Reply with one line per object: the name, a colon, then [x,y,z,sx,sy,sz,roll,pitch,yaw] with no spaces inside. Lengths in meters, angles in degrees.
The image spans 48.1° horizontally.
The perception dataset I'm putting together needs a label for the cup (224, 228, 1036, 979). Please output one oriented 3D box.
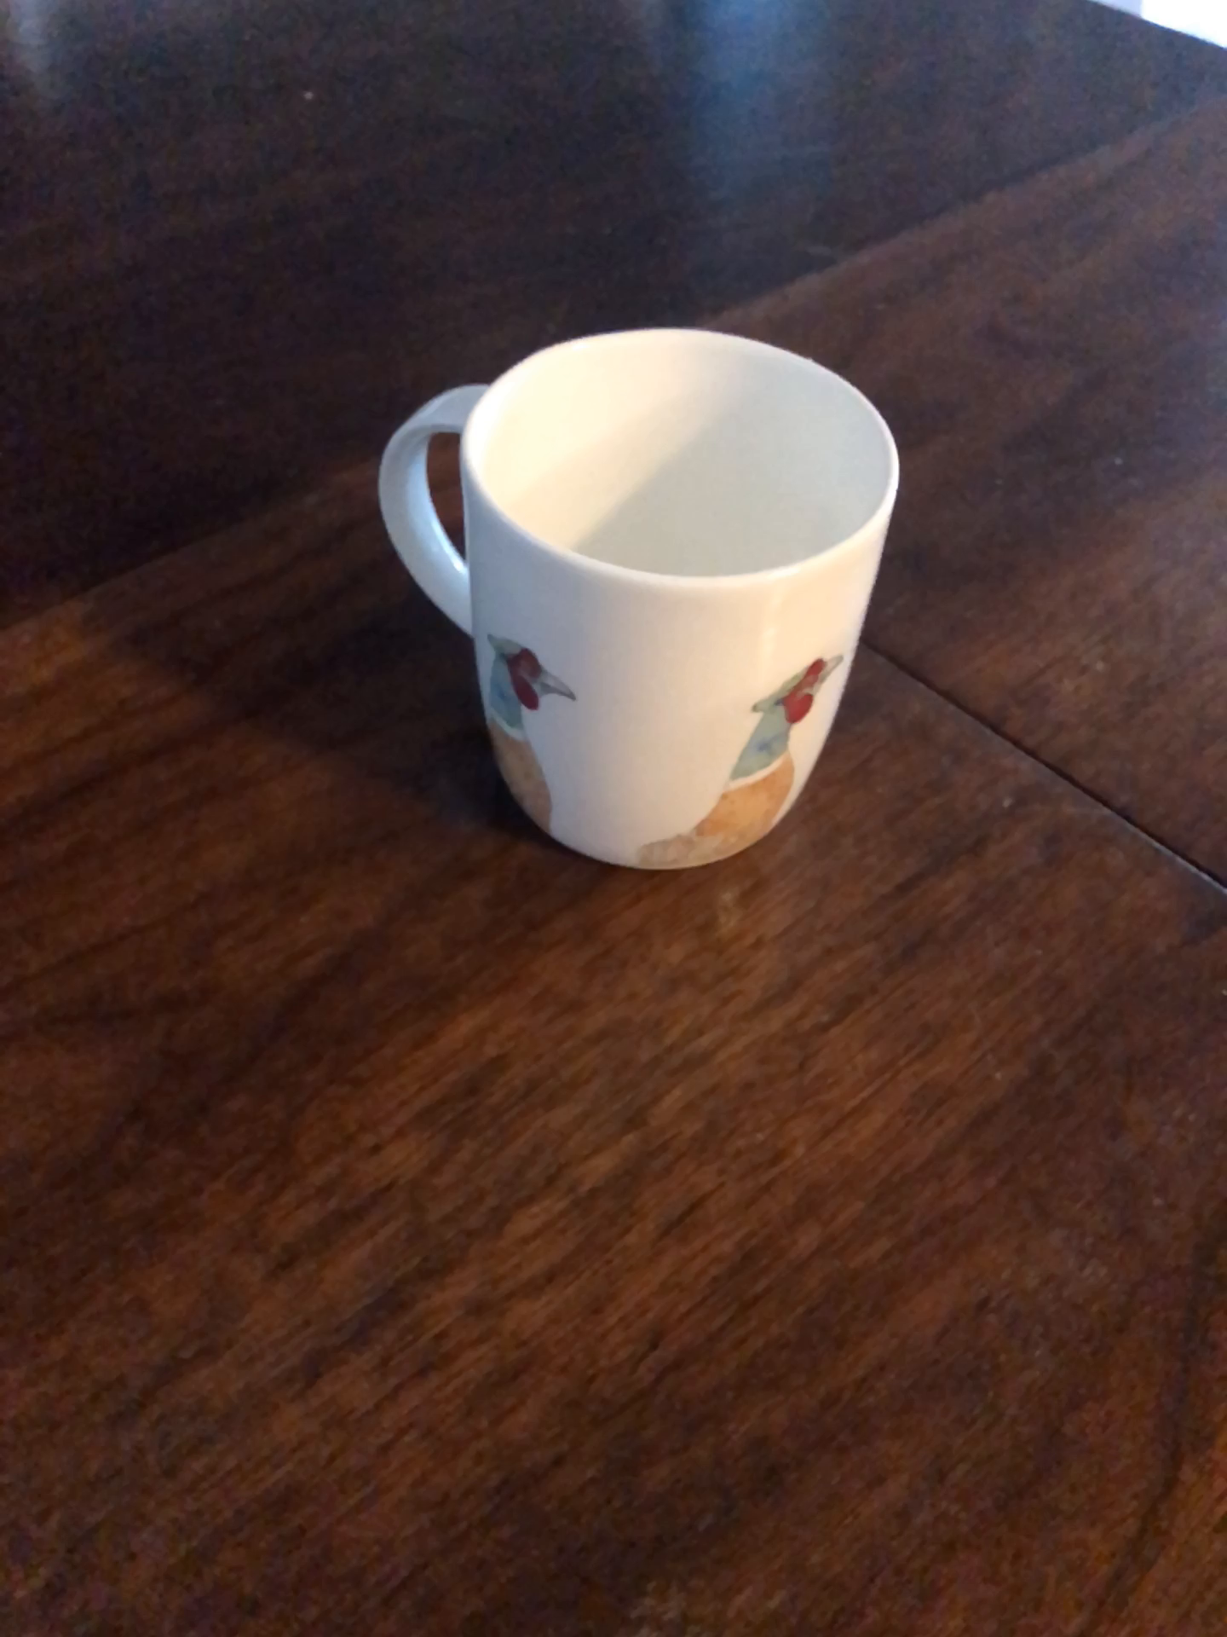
cup: [0.003,-0.051,0.299,0.130,0.090,0.090,24,51,17]
